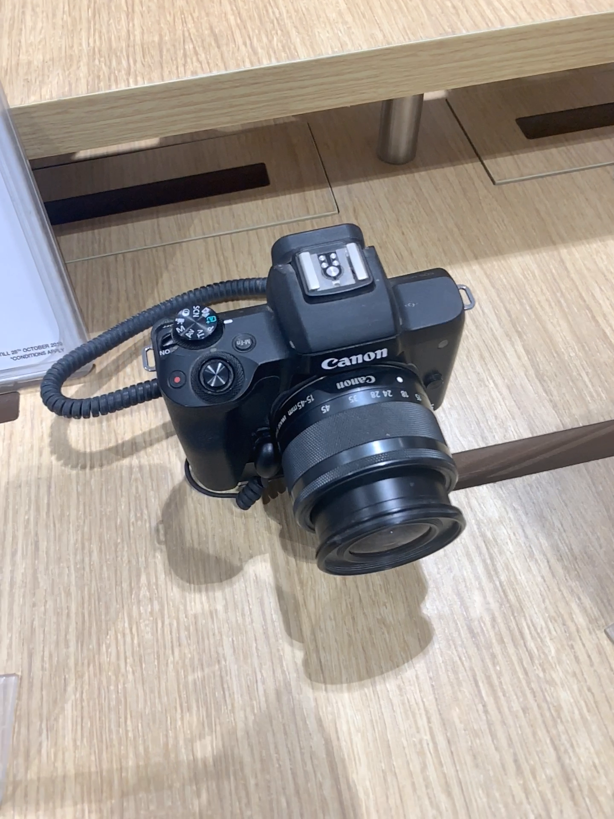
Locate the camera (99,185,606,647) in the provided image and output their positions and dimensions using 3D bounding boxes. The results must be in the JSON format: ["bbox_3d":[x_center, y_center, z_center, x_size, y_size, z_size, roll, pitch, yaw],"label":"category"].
[{"bbox_3d":[0.007,0.006,0.222,0.120,0.100,0.100,-13,58,-5],"label":"camera"}]
